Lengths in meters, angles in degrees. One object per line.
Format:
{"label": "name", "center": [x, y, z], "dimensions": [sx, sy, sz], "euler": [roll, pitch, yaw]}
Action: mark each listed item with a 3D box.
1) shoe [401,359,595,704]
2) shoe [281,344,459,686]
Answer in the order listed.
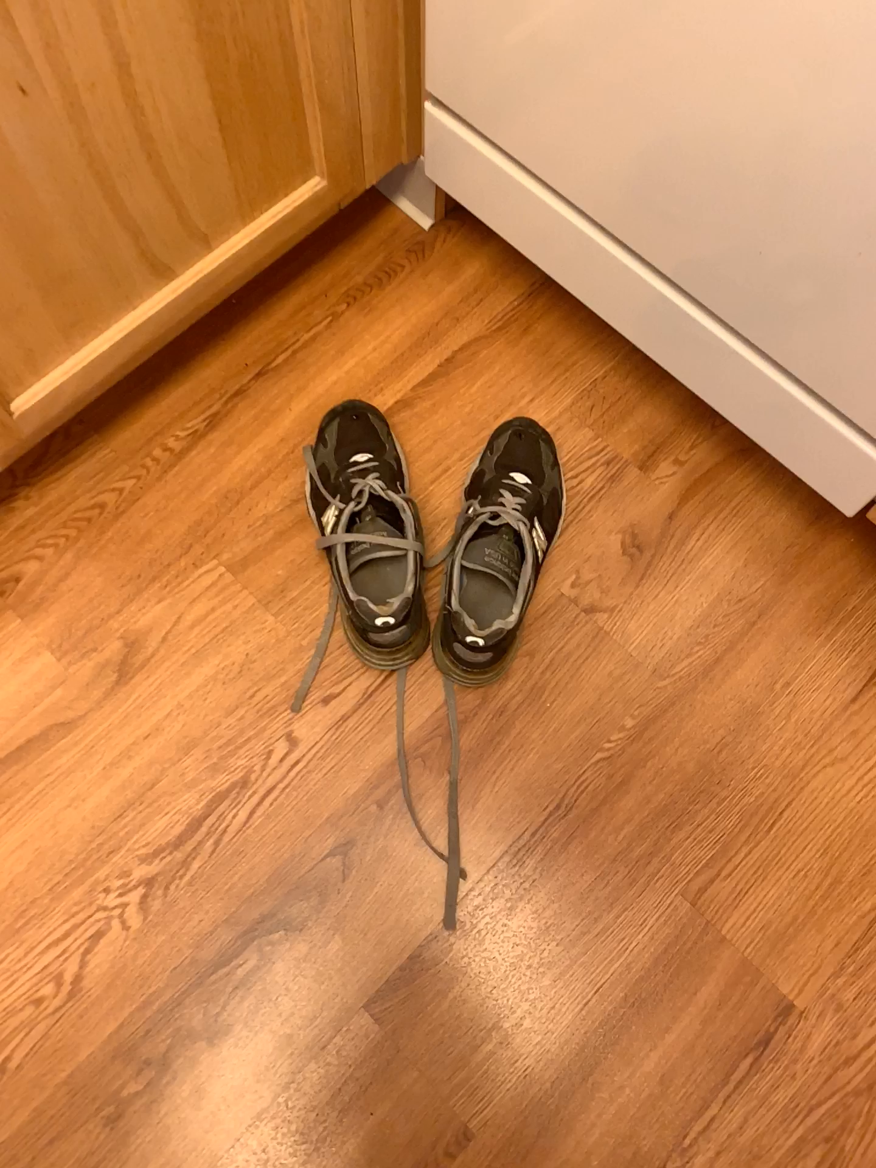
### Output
{"label": "shoe", "center": [0.059, -0.053, 0.865], "dimensions": [0.120, 0.100, 0.300], "euler": [13, 70, 4]}
{"label": "shoe", "center": [-0.067, -0.068, 0.860], "dimensions": [0.120, 0.100, 0.300], "euler": [-9, 70, -4]}
